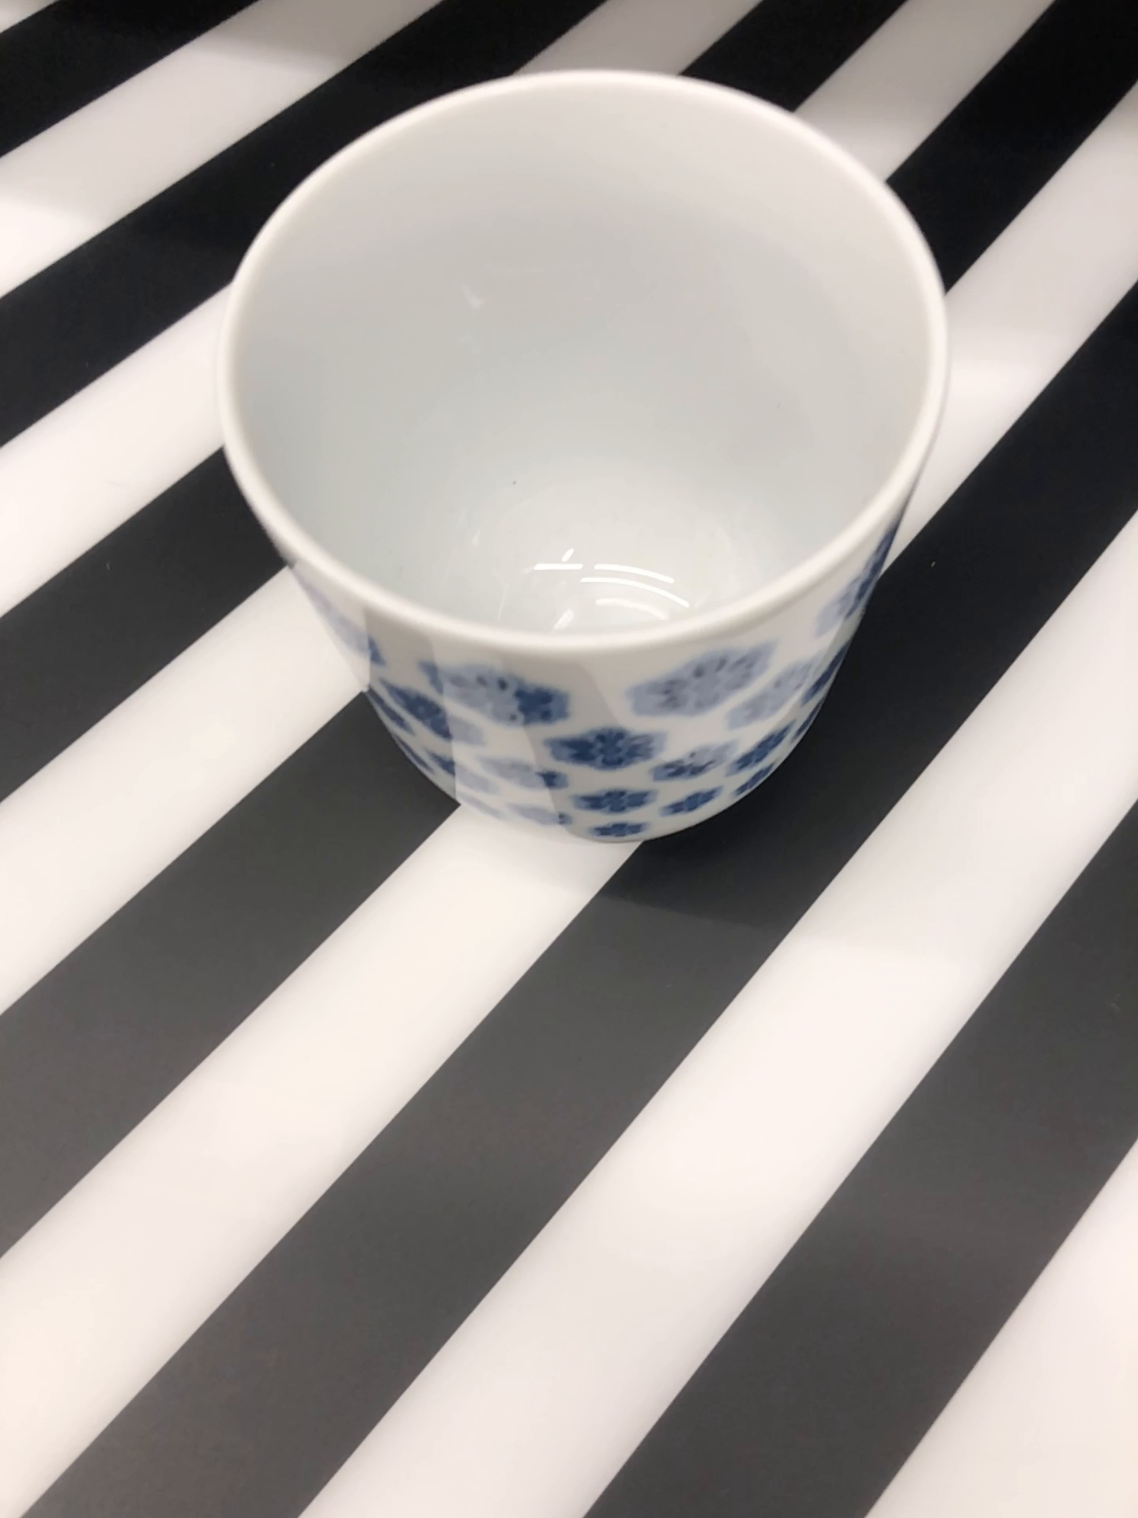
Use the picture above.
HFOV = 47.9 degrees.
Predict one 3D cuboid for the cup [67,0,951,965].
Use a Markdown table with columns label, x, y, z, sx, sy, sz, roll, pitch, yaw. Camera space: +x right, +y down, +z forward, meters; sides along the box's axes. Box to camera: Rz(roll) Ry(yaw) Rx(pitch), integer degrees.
| label | x | y | z | sx | sy | sz | roll | pitch | yaw |
| --- | --- | --- | --- | --- | --- | --- | --- | --- | --- |
| cup | 0.000 | -0.030 | 0.162 | 0.070 | 0.080 | 0.080 | 10 | 67 | 8 |
